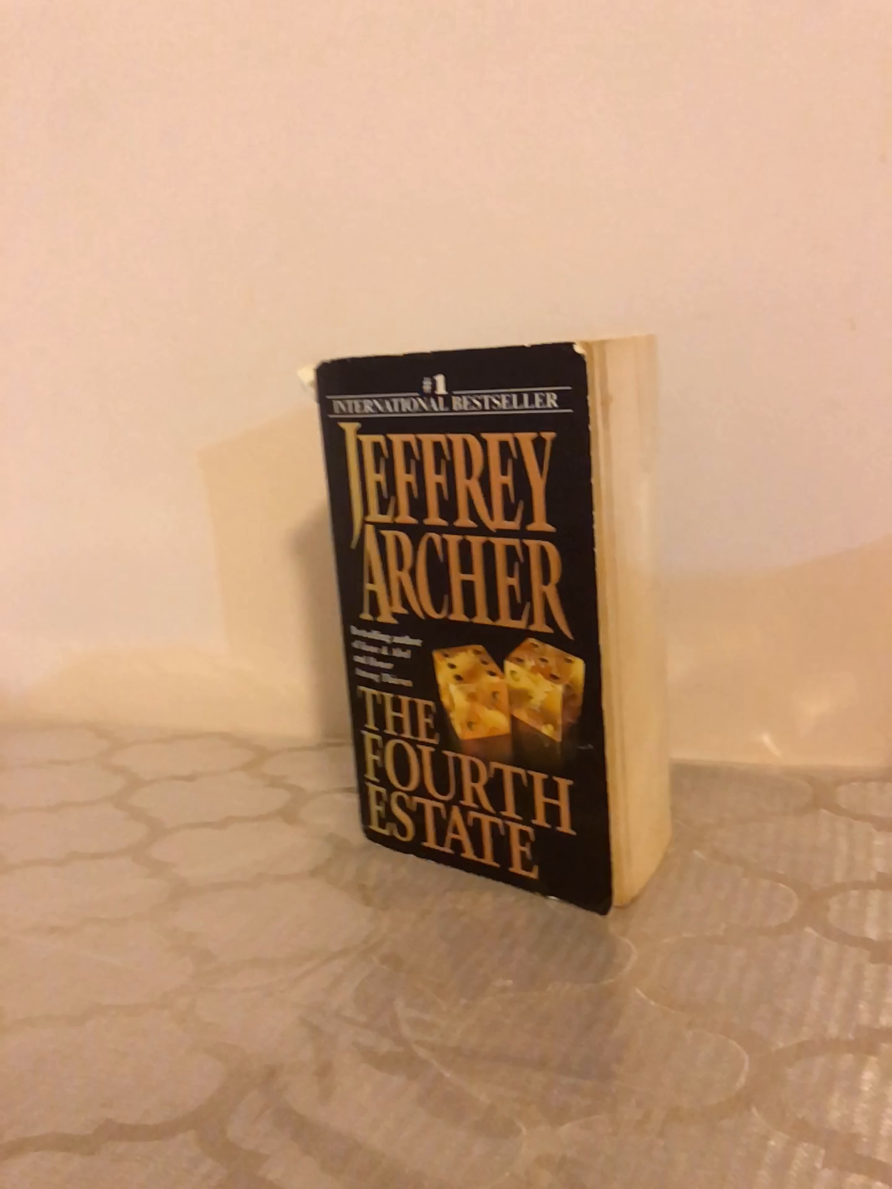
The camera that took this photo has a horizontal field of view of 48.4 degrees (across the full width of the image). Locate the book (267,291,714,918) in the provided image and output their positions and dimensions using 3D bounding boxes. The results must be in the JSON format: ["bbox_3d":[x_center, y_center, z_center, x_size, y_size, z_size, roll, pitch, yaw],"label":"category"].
[{"bbox_3d":[0.015,-0.003,0.321,0.120,0.170,0.060,5,15,38],"label":"book"}]
